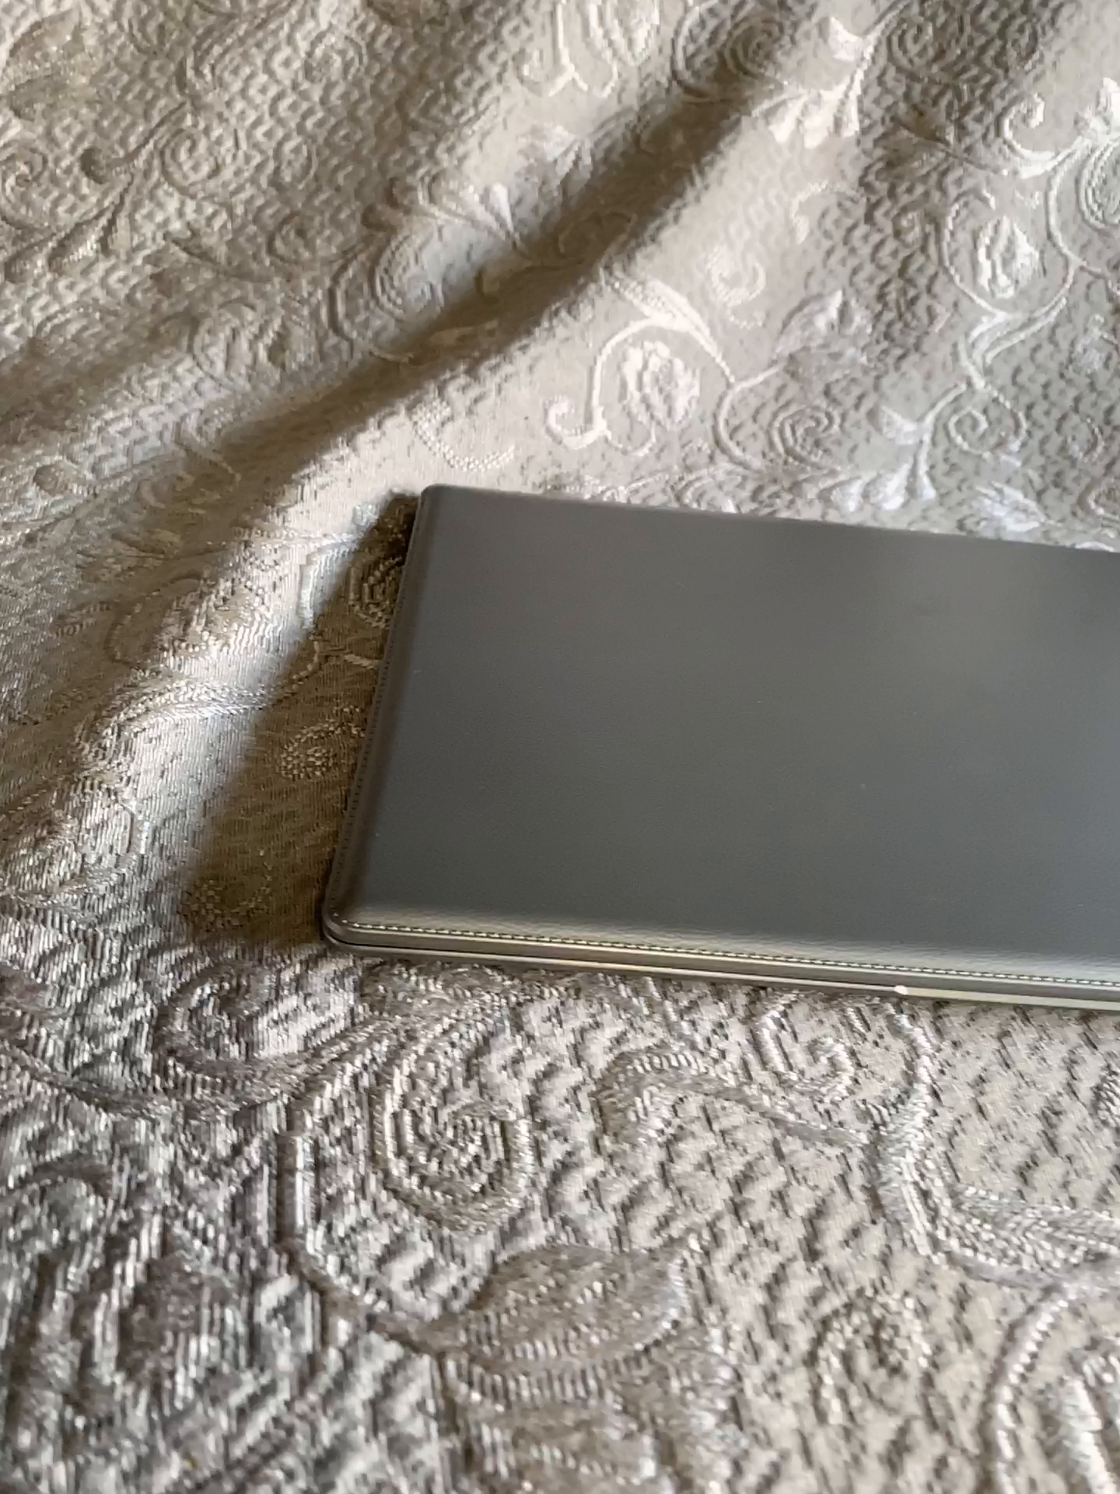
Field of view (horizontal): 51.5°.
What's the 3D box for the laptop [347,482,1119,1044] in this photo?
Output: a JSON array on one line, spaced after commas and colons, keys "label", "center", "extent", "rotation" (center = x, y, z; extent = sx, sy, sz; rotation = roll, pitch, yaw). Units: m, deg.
[{"label": "laptop", "center": [0.089, -0.009, 0.300], "extent": [0.264, 0.005, 0.176], "rotation": [5, 41, -4]}]
